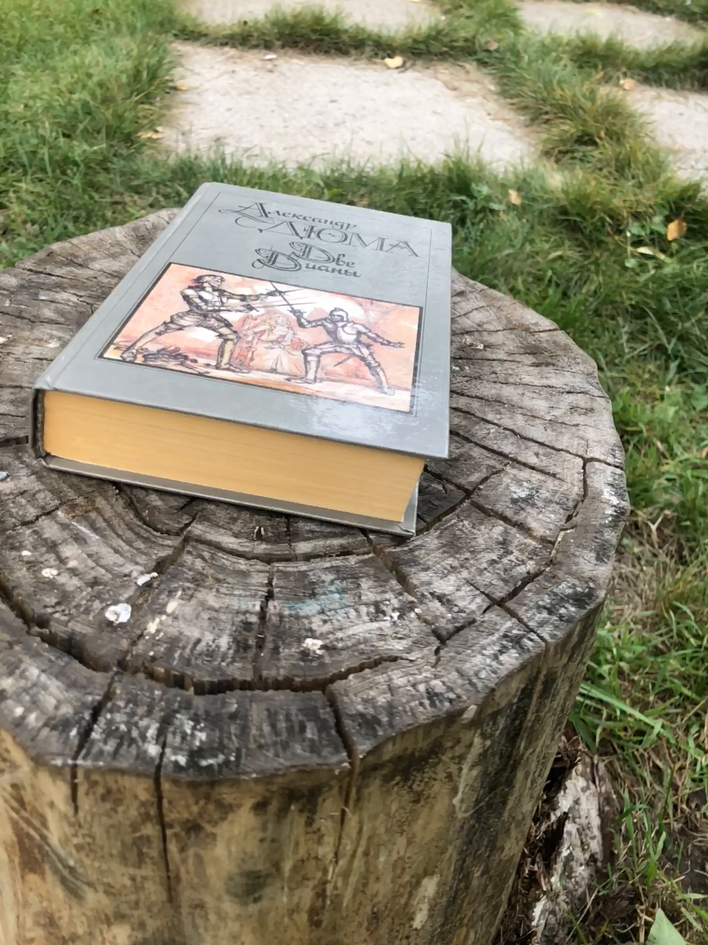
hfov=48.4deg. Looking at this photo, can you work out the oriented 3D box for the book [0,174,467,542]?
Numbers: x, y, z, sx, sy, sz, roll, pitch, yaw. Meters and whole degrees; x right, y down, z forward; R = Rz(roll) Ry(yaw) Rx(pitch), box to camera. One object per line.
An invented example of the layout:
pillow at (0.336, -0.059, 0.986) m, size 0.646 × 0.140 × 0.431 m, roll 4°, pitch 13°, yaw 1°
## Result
book at (-0.027, -0.064, 0.321) m, size 0.140 × 0.030 × 0.205 m, roll 10°, pitch 38°, yaw 0°
